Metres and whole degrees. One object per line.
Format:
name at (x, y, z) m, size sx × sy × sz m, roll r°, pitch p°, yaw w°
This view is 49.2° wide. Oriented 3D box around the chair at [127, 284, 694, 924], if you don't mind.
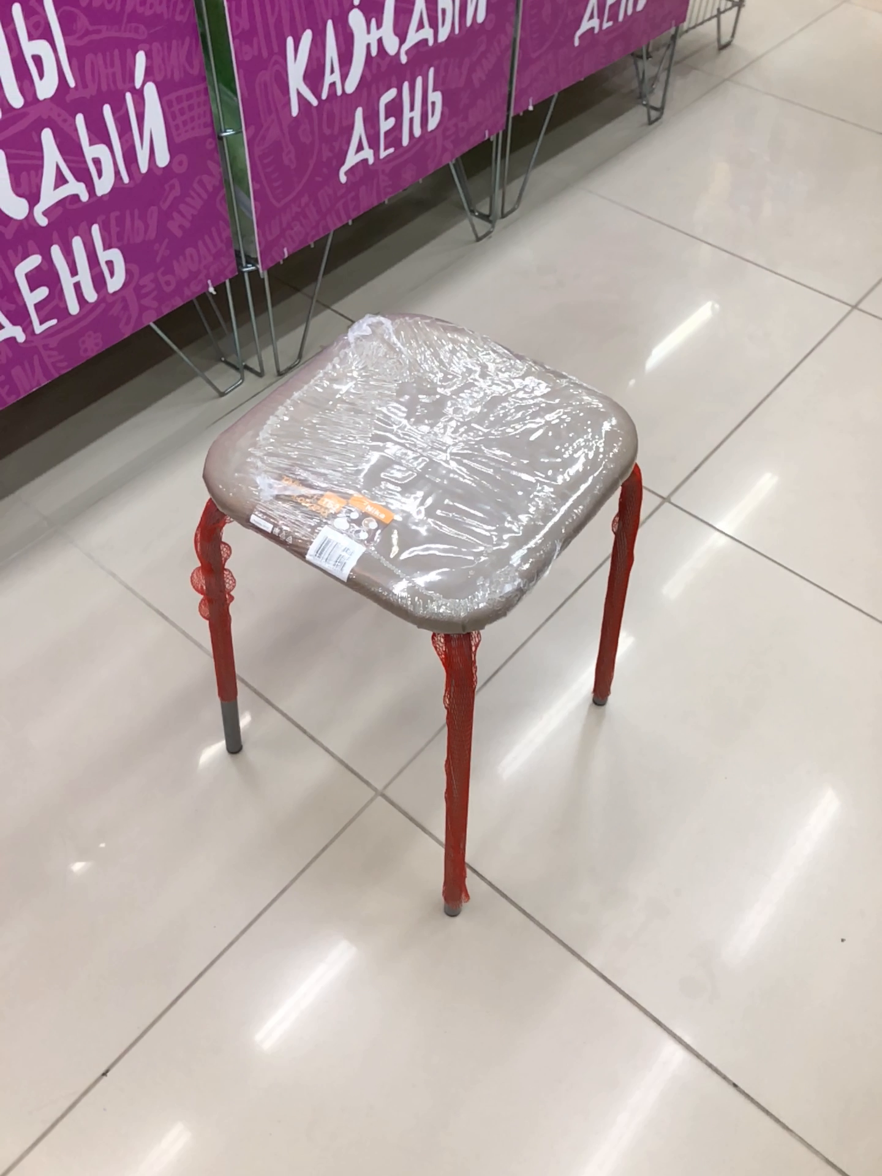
chair at (-0.020, 0.025, 0.956) m, size 0.330 × 0.437 × 0.332 m, roll 30°, pitch 57°, yaw 21°
